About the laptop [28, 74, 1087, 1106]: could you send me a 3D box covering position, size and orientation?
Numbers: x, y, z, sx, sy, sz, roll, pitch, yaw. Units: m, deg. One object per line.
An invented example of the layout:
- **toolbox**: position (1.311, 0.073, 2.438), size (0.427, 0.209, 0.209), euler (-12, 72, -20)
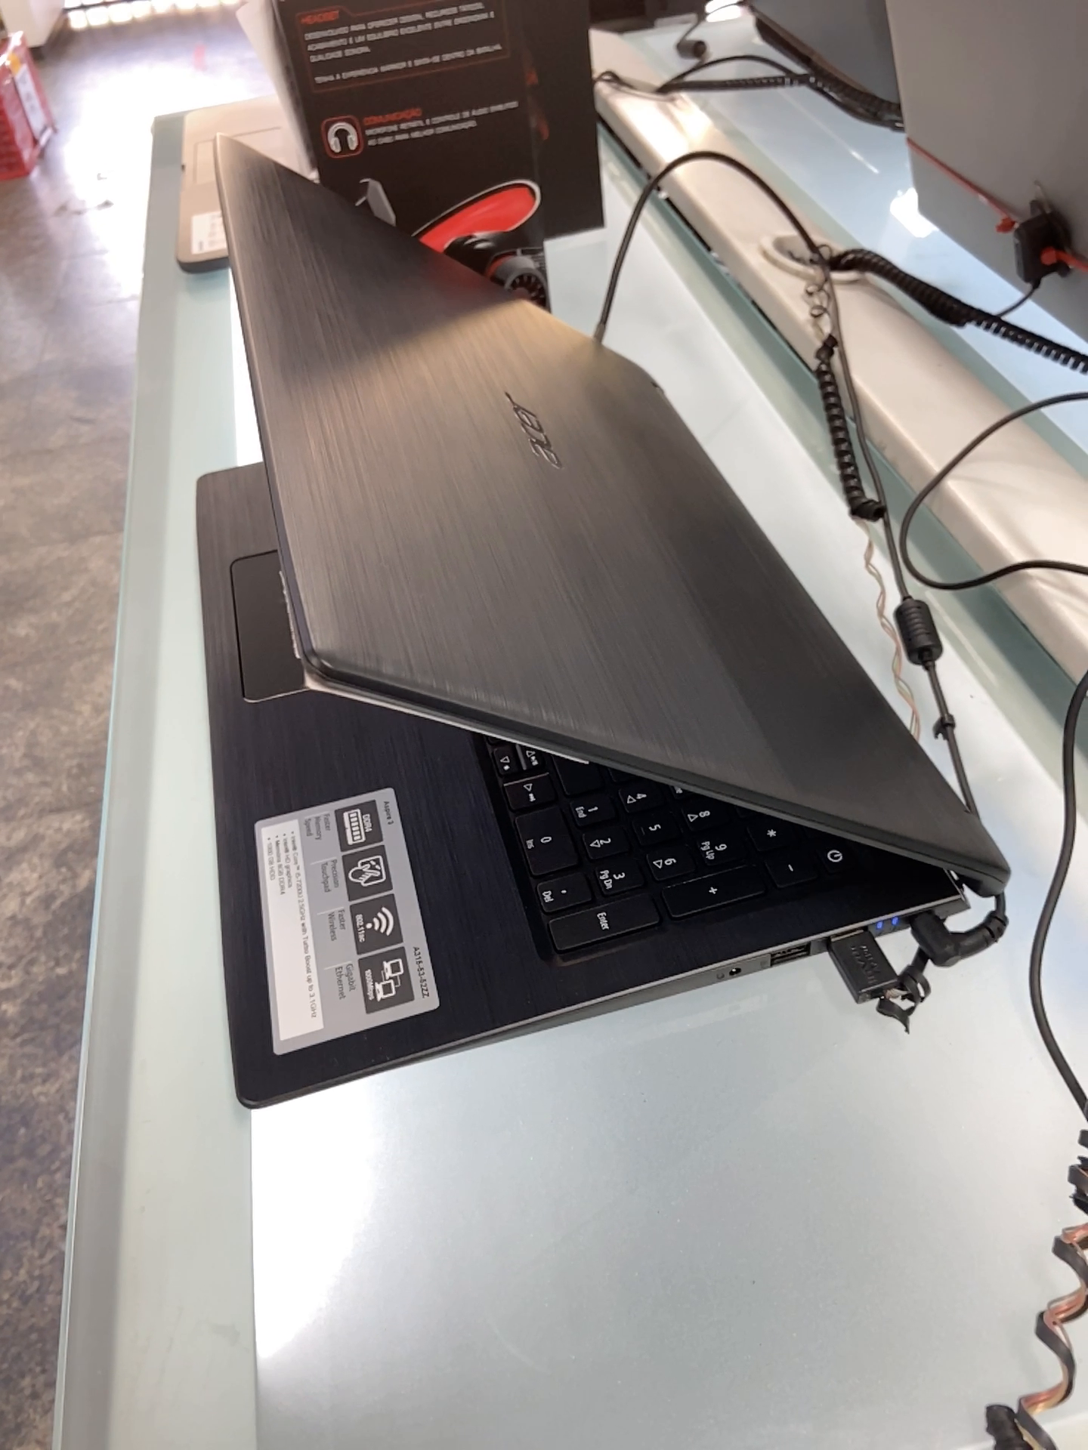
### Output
- **laptop**: position (-0.031, -0.093, 0.429), size (0.238, 0.157, 0.372), euler (-15, 45, -7)
